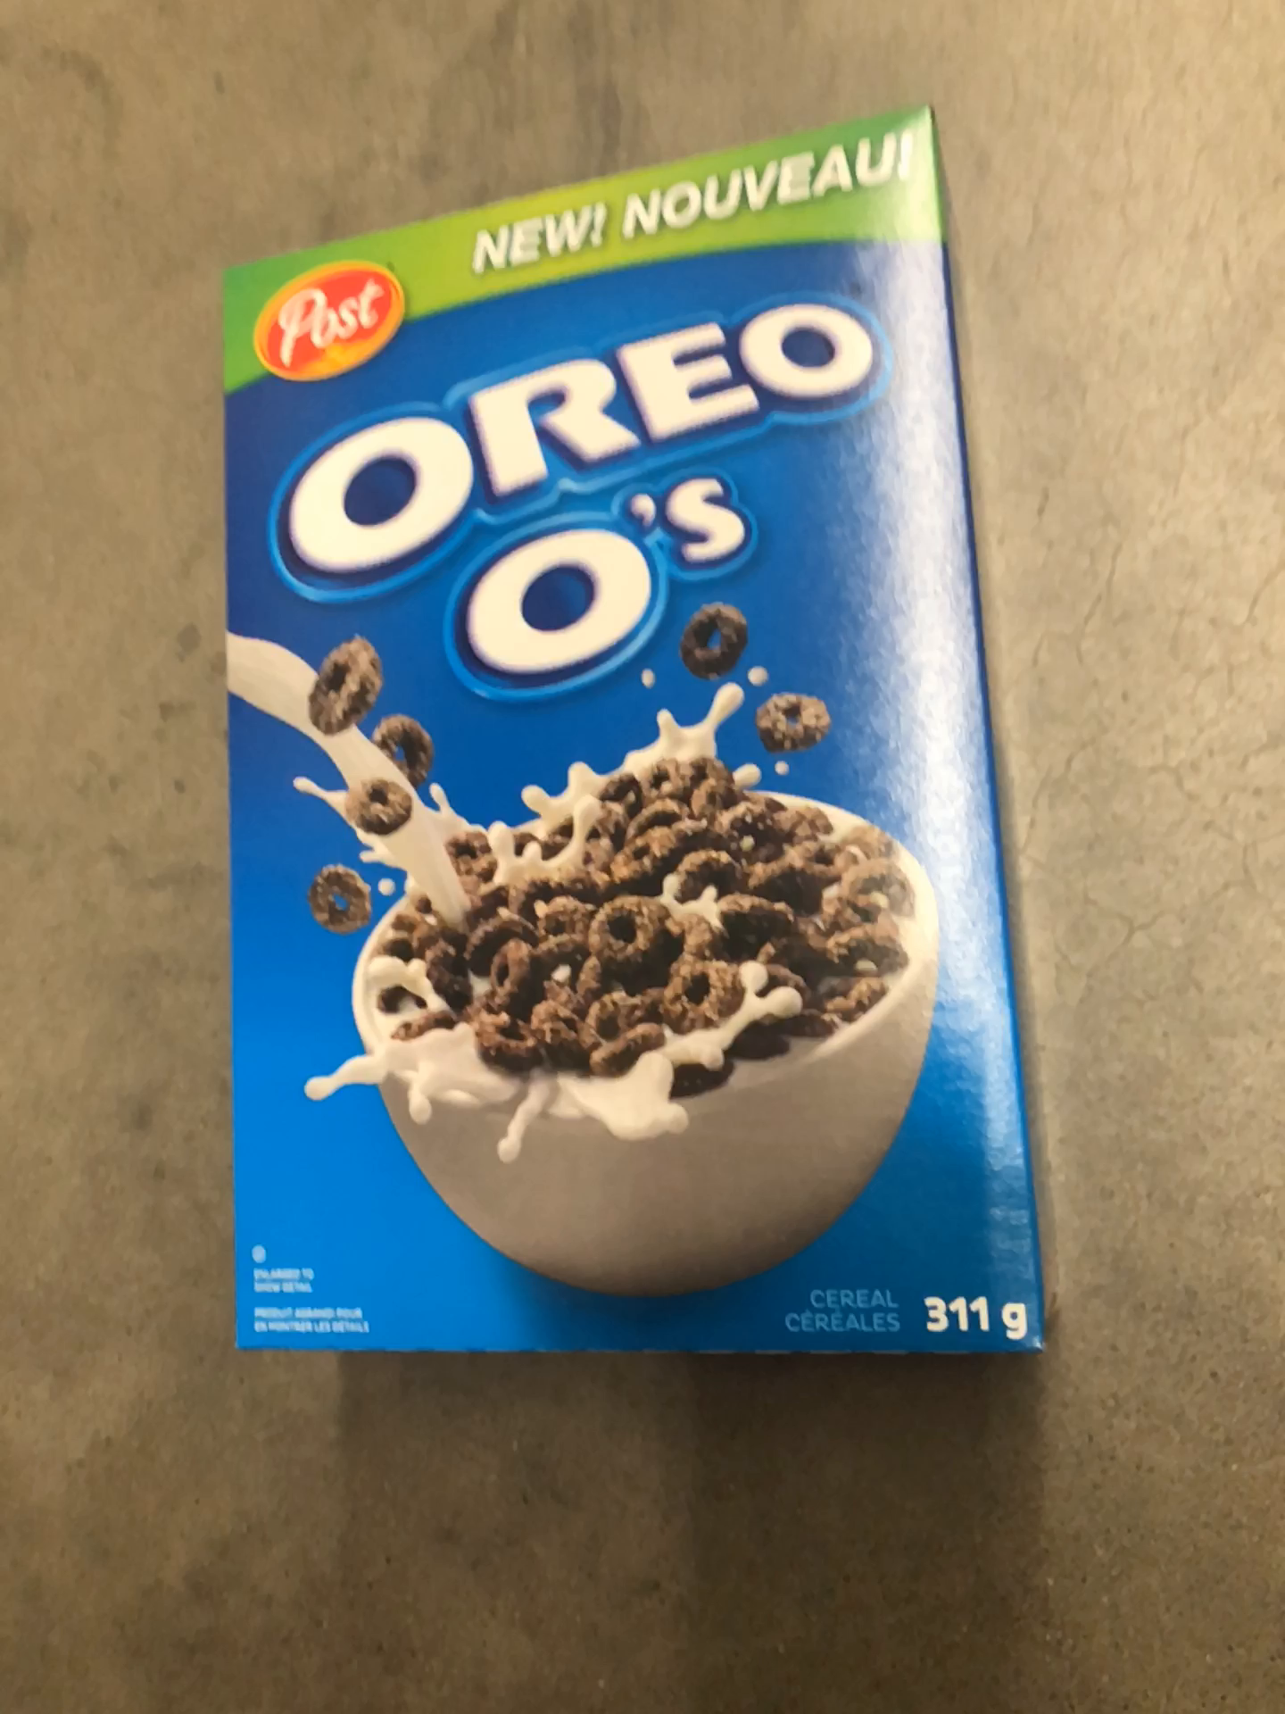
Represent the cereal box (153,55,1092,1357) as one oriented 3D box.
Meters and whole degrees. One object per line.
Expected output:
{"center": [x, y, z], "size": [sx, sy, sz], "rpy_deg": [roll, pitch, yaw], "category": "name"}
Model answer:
{"center": [-0.011, -0.026, 0.362], "size": [0.211, 0.070, 0.280], "rpy_deg": [-6, 81, 17], "category": "cereal box"}
